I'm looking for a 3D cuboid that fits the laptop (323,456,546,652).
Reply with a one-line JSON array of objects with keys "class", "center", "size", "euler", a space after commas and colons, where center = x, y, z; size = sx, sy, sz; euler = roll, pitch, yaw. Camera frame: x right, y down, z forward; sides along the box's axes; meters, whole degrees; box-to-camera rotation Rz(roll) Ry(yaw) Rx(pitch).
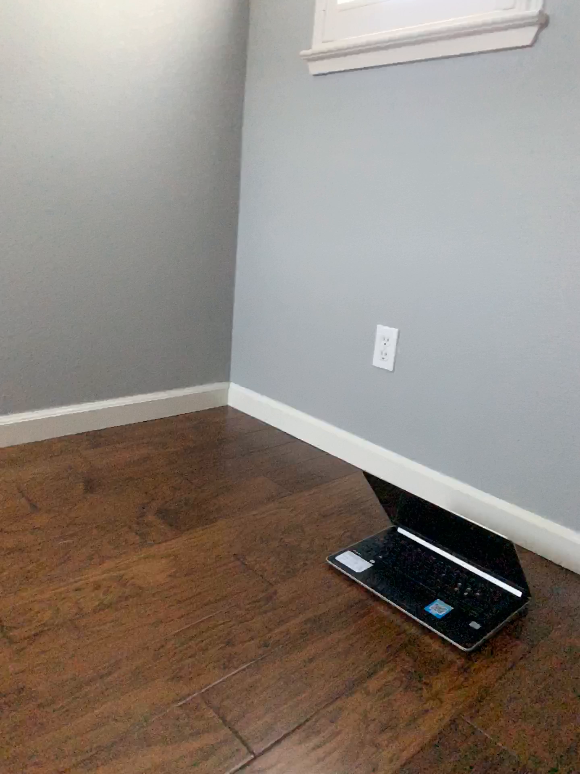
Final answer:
[{"class": "laptop", "center": [0.259, 0.284, 1.104], "size": [0.220, 0.169, 0.317], "euler": [-10, 22, -43]}]
